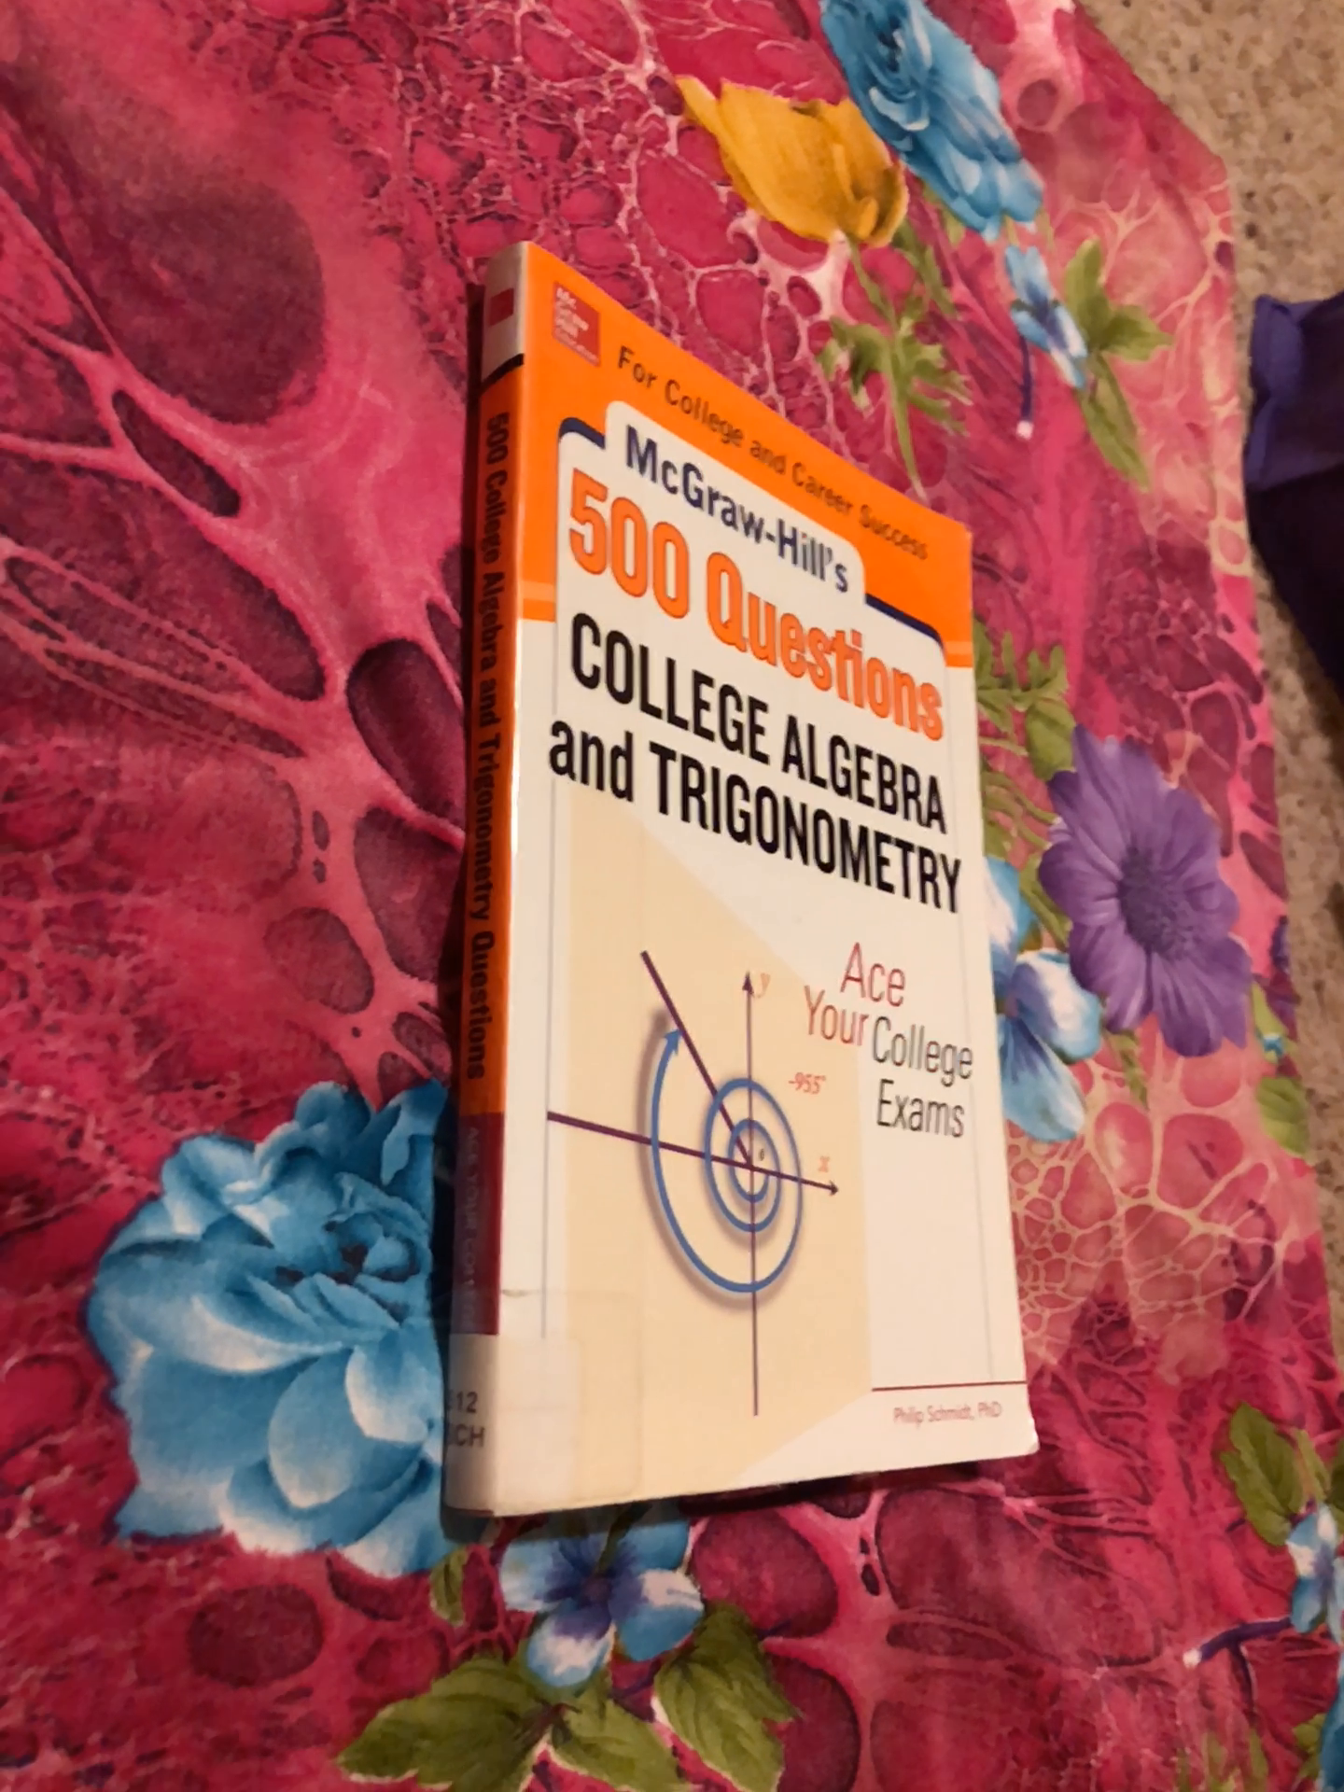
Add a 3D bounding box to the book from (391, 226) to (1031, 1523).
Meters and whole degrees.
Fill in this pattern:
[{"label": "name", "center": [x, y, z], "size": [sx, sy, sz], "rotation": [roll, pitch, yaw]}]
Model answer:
[{"label": "book", "center": [0.018, 0.002, 0.307], "size": [0.157, 0.022, 0.220], "rotation": [17, 67, -46]}]
